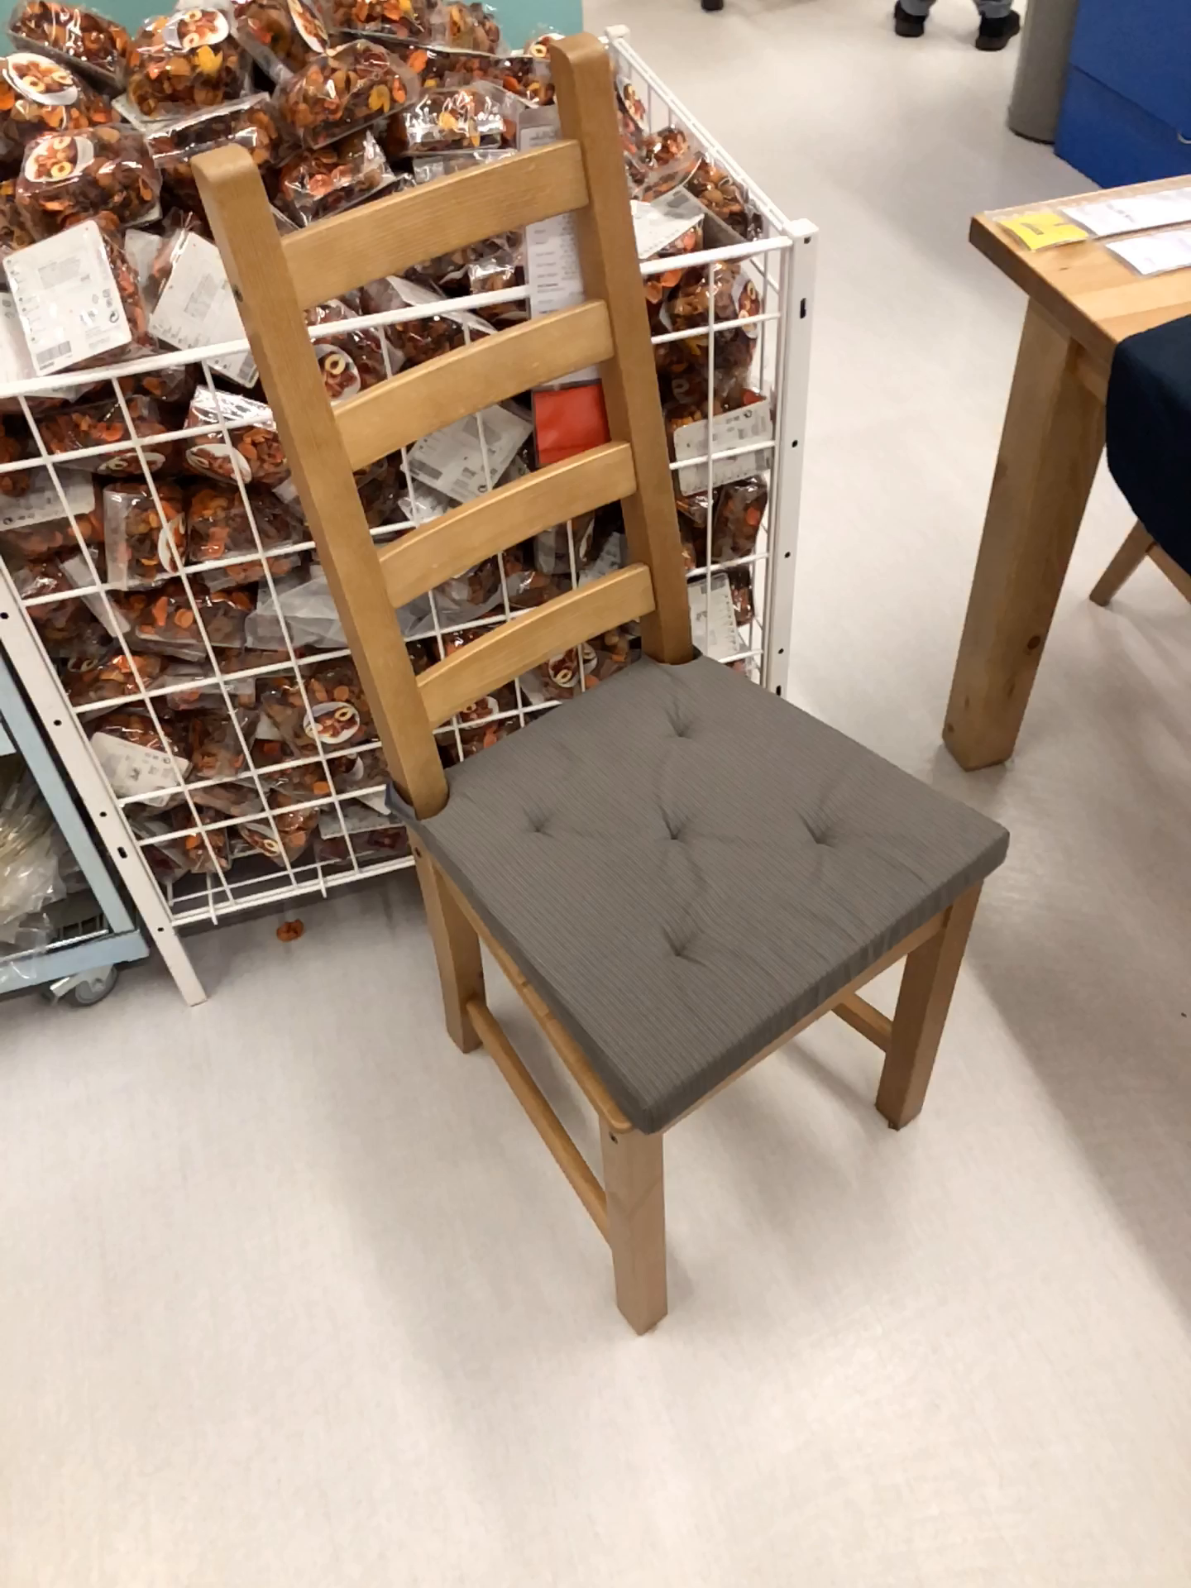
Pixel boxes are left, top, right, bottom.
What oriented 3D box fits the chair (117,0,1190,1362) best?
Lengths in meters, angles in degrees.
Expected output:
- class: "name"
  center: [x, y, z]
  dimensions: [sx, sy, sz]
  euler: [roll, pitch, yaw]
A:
- class: "chair"
  center: [0.058, -0.039, 1.047]
  dimensions: [0.431, 0.914, 0.472]
  euler: [-31, 53, -23]
